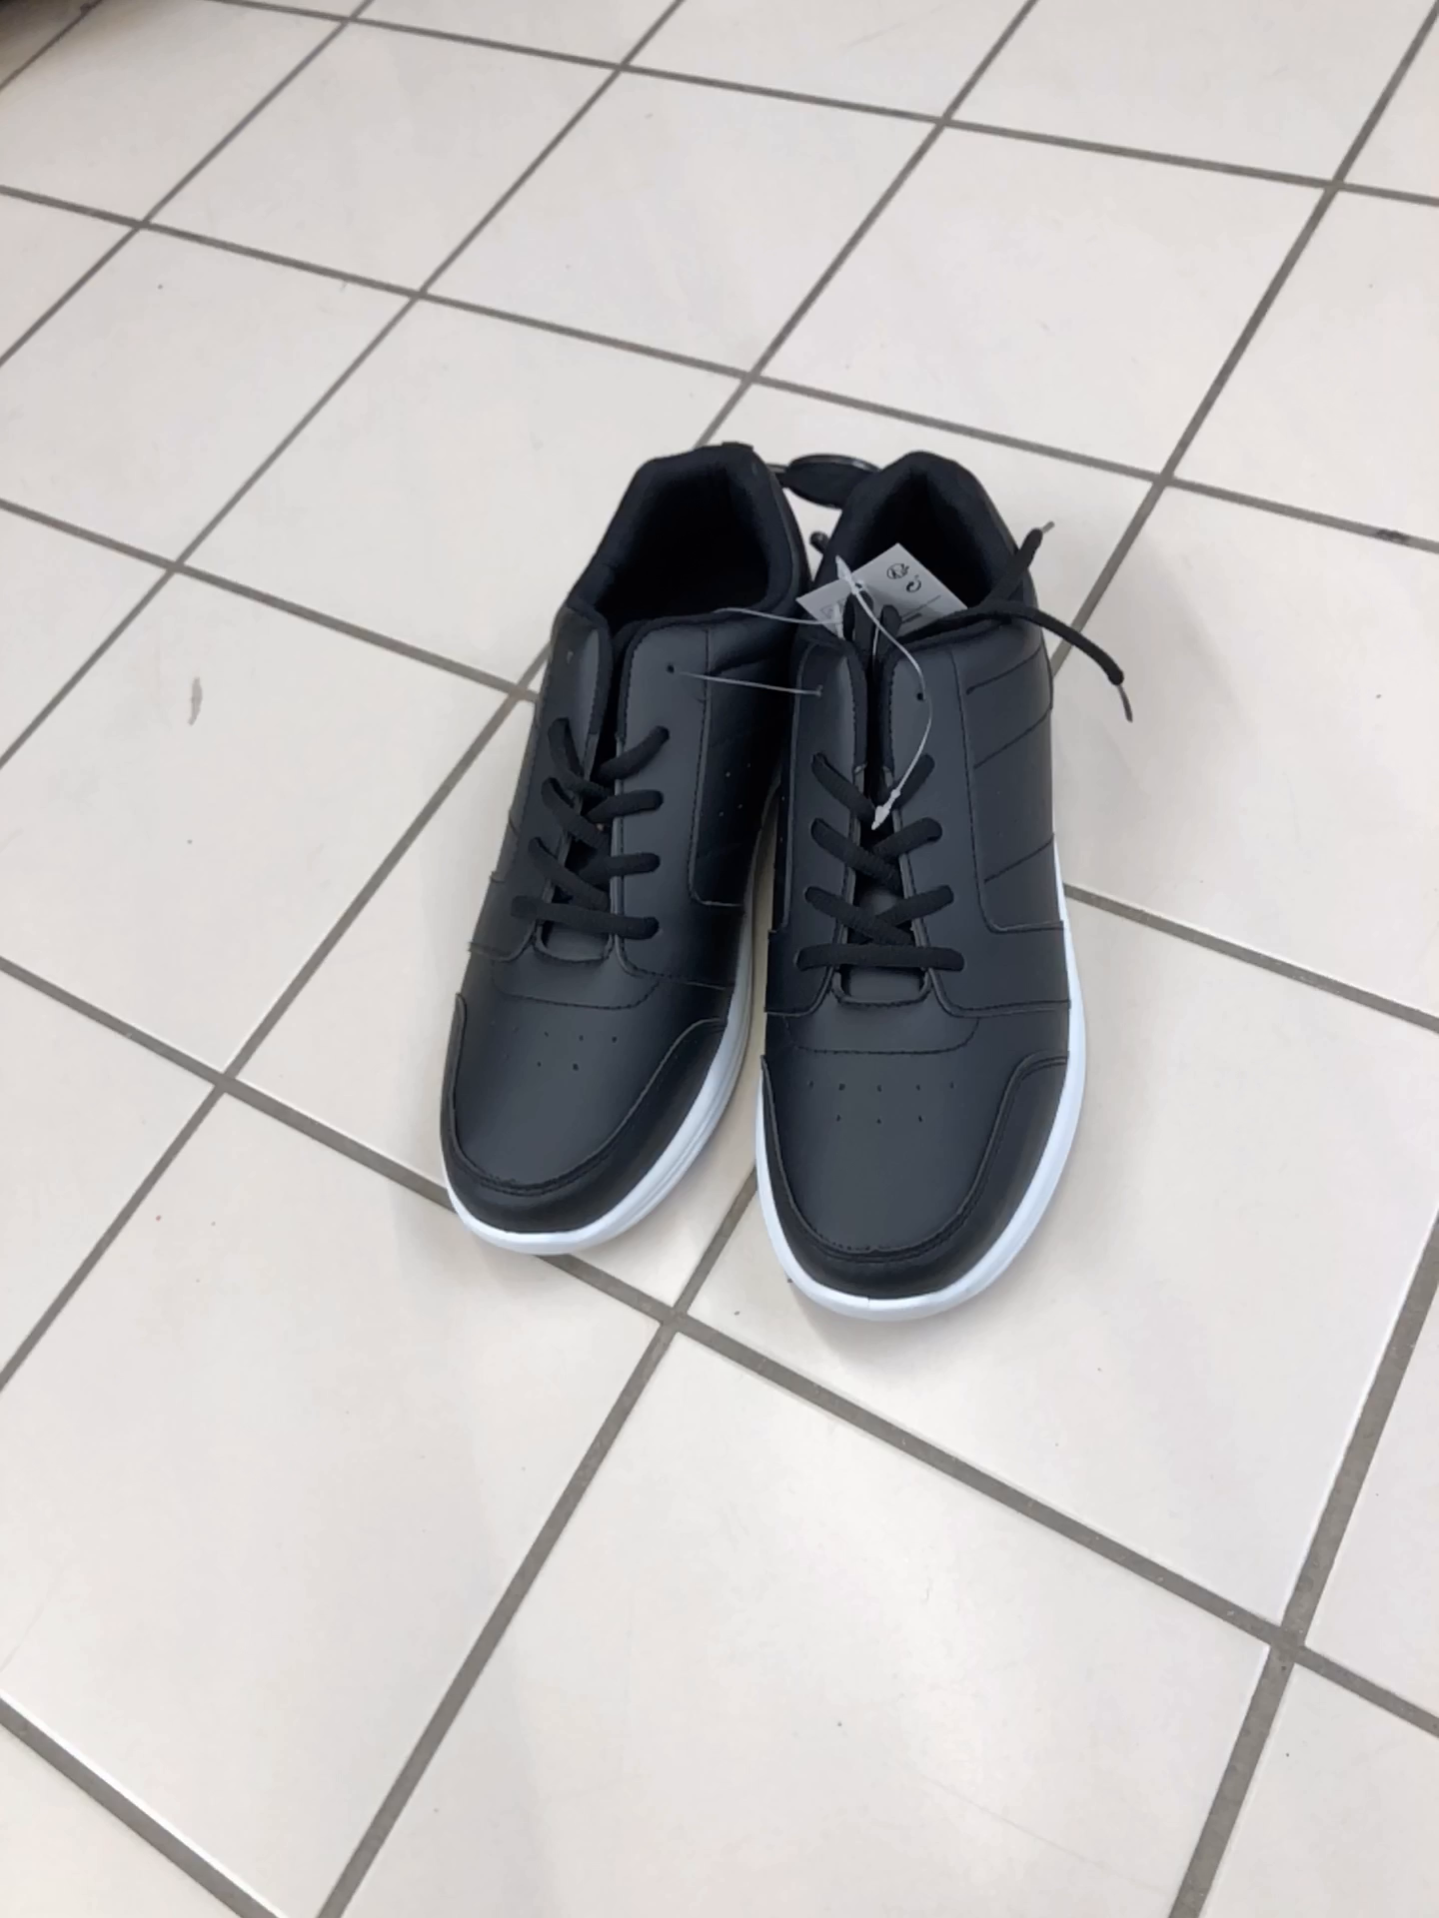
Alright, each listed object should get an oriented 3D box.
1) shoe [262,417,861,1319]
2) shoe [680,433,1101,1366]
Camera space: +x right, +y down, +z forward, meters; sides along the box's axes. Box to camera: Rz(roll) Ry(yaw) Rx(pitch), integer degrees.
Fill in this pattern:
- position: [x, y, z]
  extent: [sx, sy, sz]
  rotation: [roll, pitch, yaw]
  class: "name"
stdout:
- position: [-0.035, -0.041, 0.555]
  extent: [0.110, 0.120, 0.291]
  rotation: [5, 61, 15]
  class: "shoe"
- position: [0.071, -0.027, 0.537]
  extent: [0.110, 0.120, 0.291]
  rotation: [0, 59, 12]
  class: "shoe"
